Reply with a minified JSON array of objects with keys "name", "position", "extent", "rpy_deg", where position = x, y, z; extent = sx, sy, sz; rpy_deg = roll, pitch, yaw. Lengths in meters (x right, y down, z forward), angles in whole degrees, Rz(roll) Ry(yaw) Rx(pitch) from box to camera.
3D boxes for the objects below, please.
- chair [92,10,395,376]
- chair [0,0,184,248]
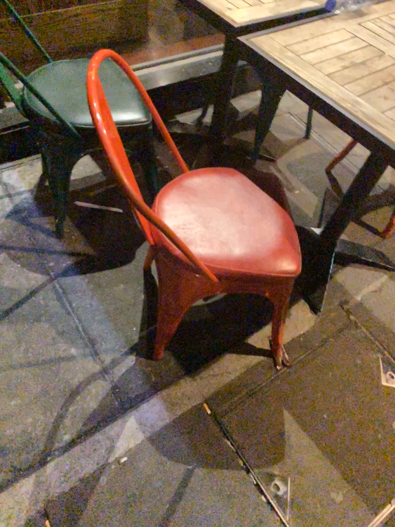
[{"name":"chair","position":[0.043,-0.098,1.021],"extent":[0.510,0.813,0.434],"rpy_deg":[-3,54,-9]},{"name":"chair","position":[-0.344,-0.495,1.253],"extent":[0.510,0.833,0.433],"rpy_deg":[-10,61,-9]}]
